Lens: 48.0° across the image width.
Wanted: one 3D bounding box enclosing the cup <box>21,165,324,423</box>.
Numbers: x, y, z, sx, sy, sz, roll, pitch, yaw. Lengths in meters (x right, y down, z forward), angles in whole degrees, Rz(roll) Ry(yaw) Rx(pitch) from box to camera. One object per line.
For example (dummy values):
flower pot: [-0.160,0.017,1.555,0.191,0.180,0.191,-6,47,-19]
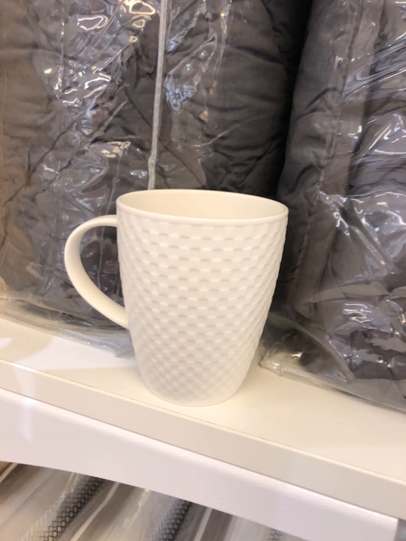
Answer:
cup: [-0.013,0.004,0.216,0.110,0.089,0.080,5,18,1]
